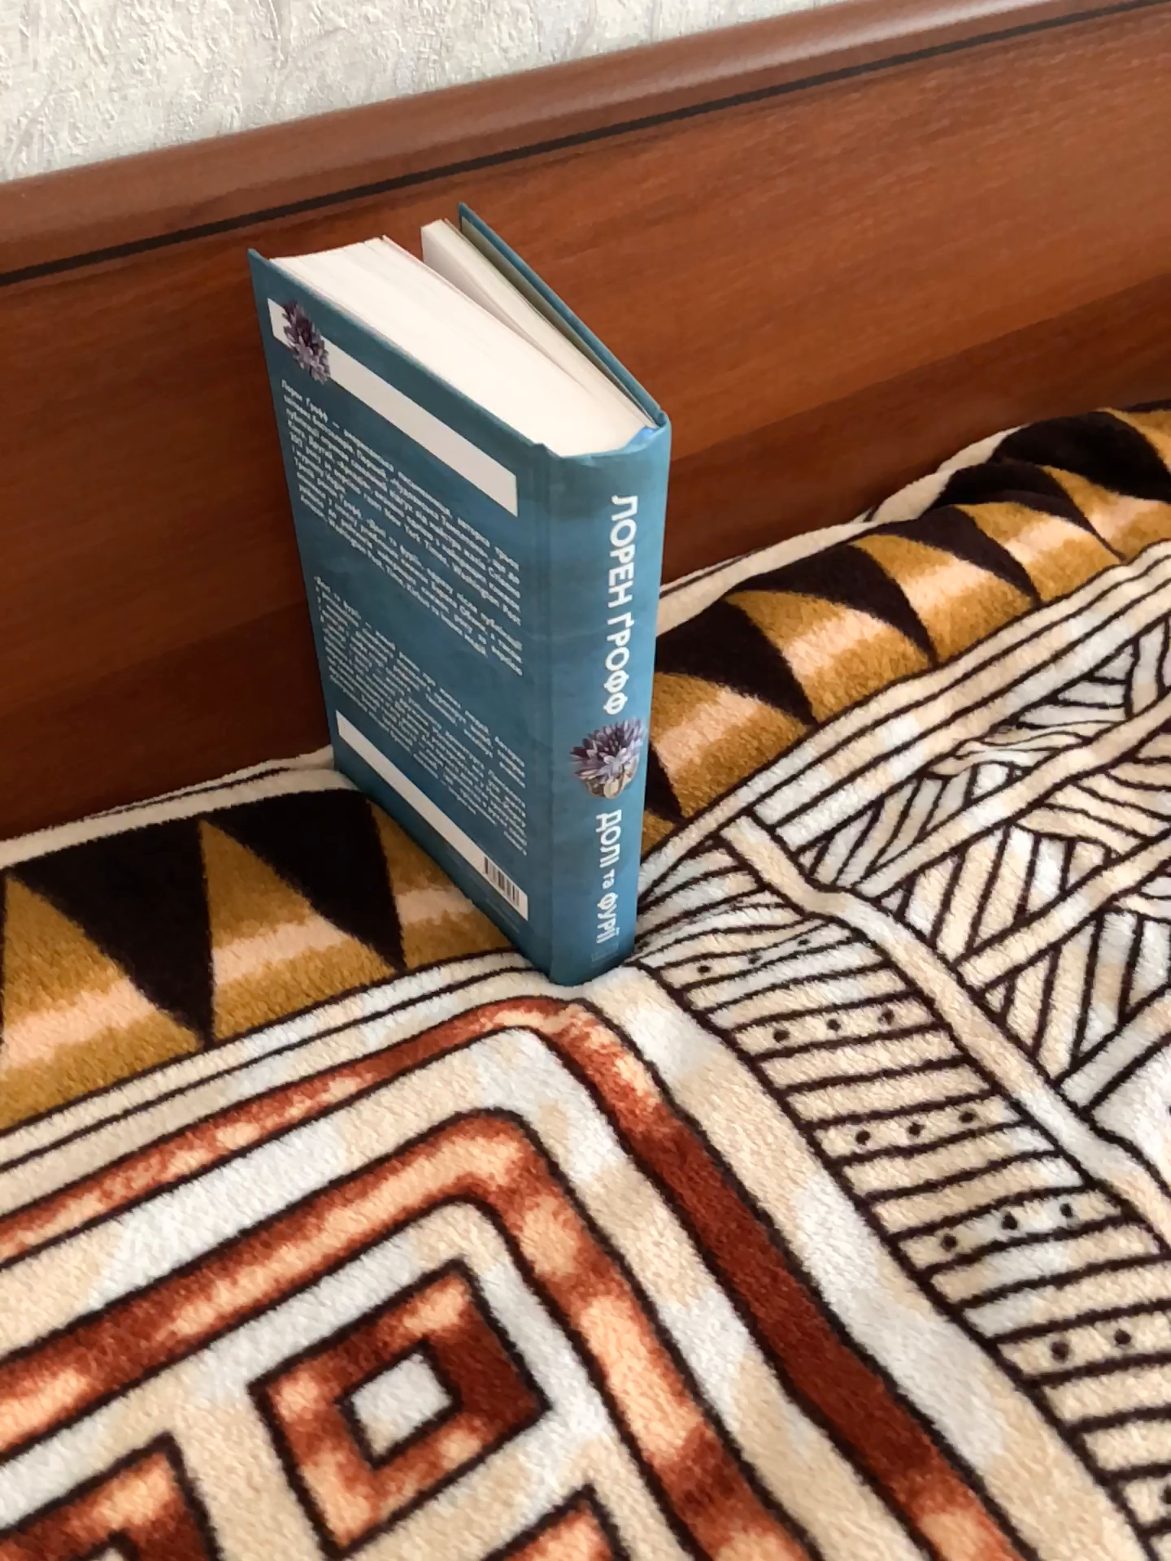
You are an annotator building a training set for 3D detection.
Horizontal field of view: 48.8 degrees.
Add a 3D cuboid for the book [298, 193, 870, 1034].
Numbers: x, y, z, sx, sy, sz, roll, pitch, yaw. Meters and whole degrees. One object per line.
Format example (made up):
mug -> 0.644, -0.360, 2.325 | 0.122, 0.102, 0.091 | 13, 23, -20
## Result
book -> -0.009, -0.052, 0.411 | 0.078, 0.199, 0.161 | -23, 49, -23
